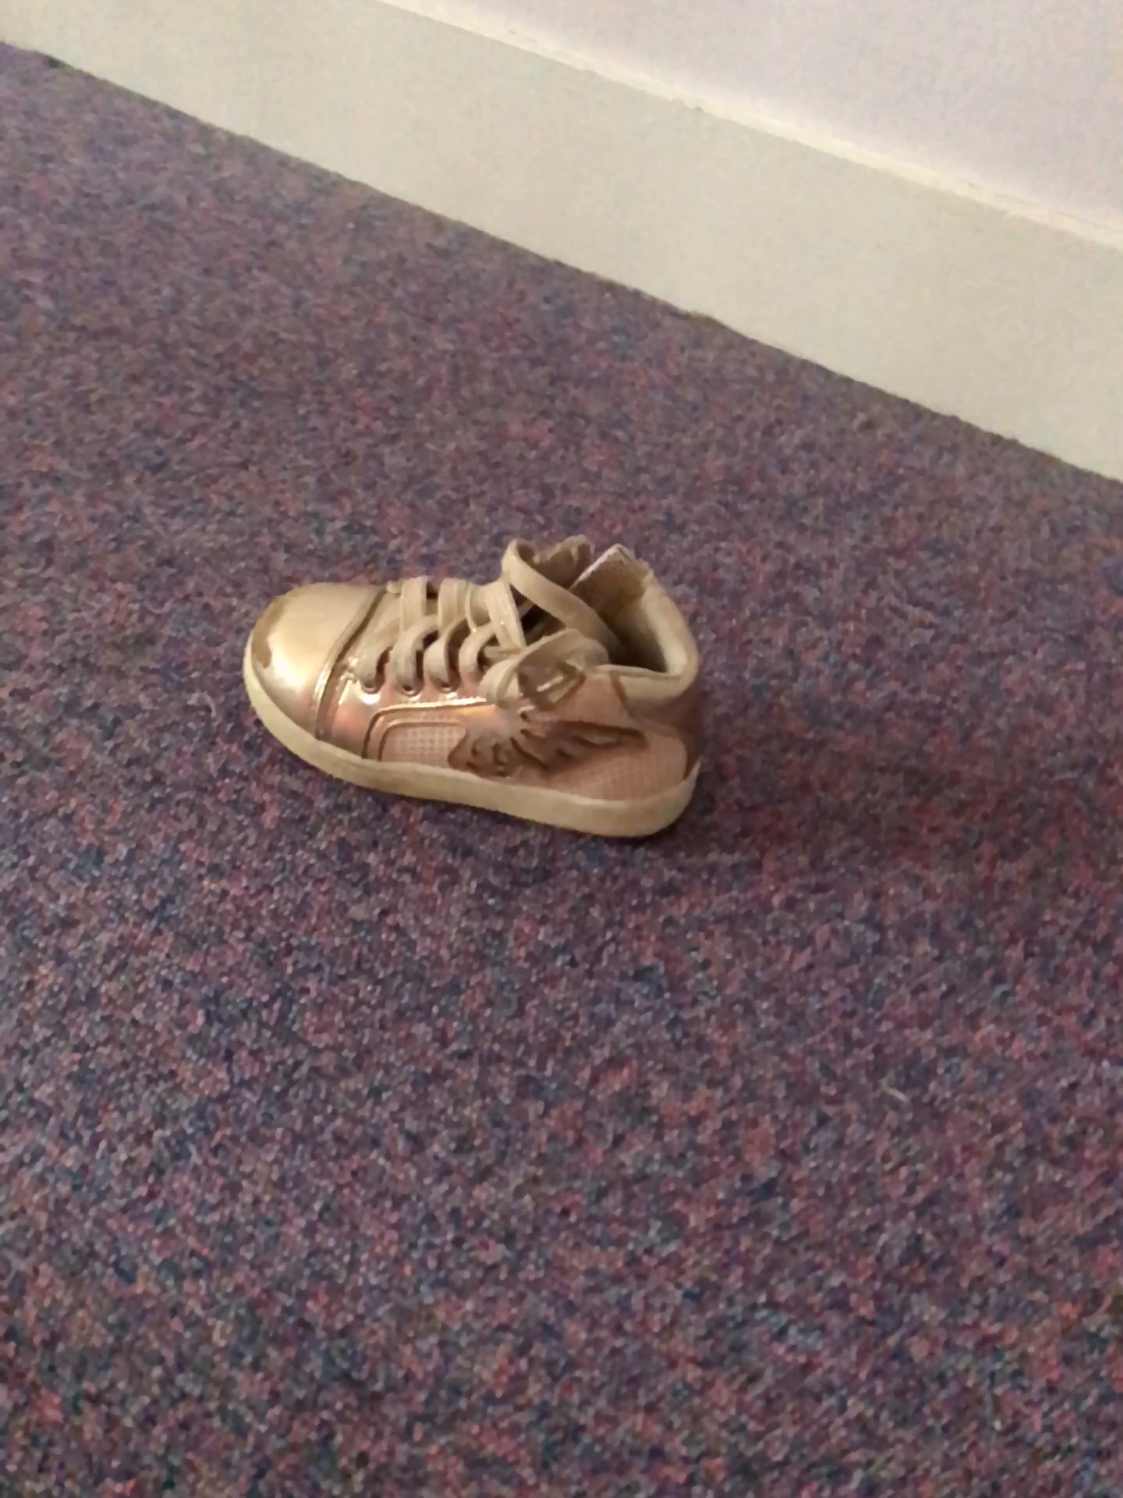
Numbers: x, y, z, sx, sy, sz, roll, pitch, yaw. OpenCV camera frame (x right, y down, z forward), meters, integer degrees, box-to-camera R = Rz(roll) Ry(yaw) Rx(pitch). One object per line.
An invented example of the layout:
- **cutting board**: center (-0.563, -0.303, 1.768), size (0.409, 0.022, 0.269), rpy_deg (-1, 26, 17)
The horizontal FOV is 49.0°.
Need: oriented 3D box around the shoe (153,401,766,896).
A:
- **shoe**: center (-0.027, -0.032, 0.372), size (0.150, 0.080, 0.080), rpy_deg (17, 51, 10)
